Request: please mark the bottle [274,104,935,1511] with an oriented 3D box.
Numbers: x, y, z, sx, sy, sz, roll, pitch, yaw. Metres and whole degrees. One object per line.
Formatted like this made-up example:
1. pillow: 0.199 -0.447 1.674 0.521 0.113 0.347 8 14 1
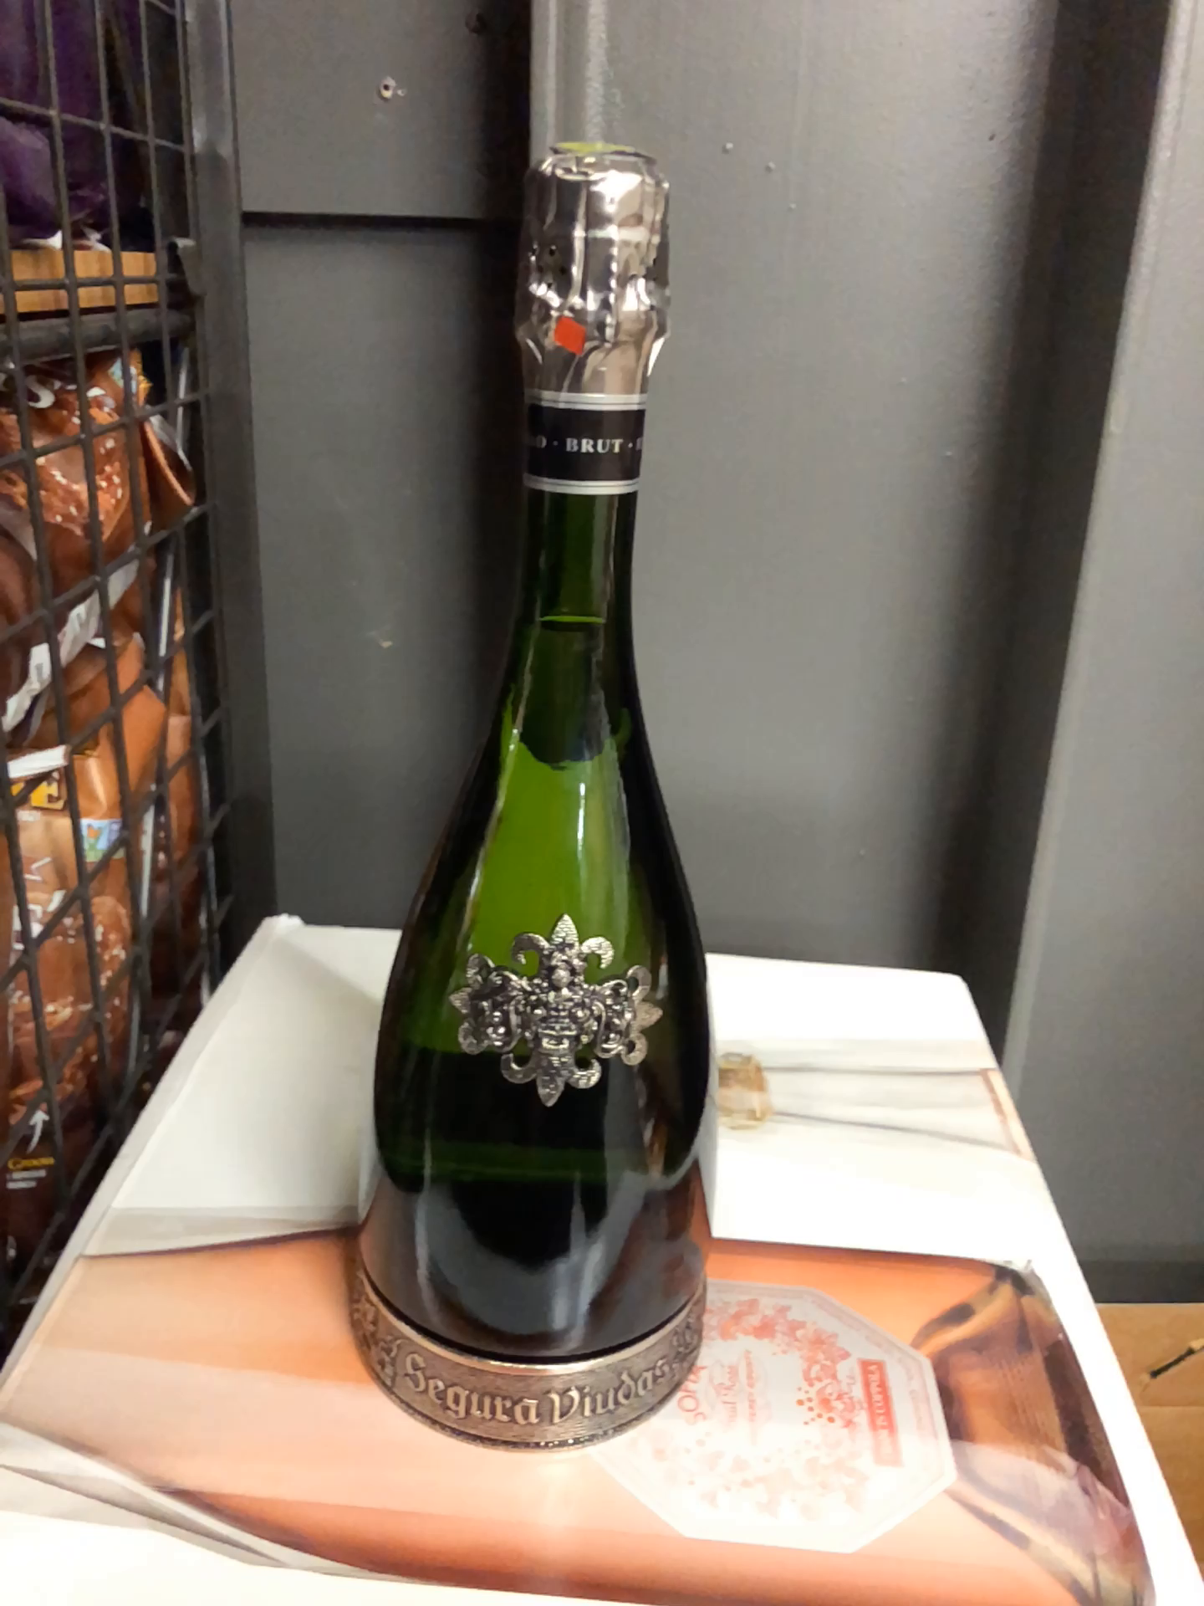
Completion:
1. bottle: -0.011 0.010 0.353 0.122 0.332 0.110 -2 21 -9
